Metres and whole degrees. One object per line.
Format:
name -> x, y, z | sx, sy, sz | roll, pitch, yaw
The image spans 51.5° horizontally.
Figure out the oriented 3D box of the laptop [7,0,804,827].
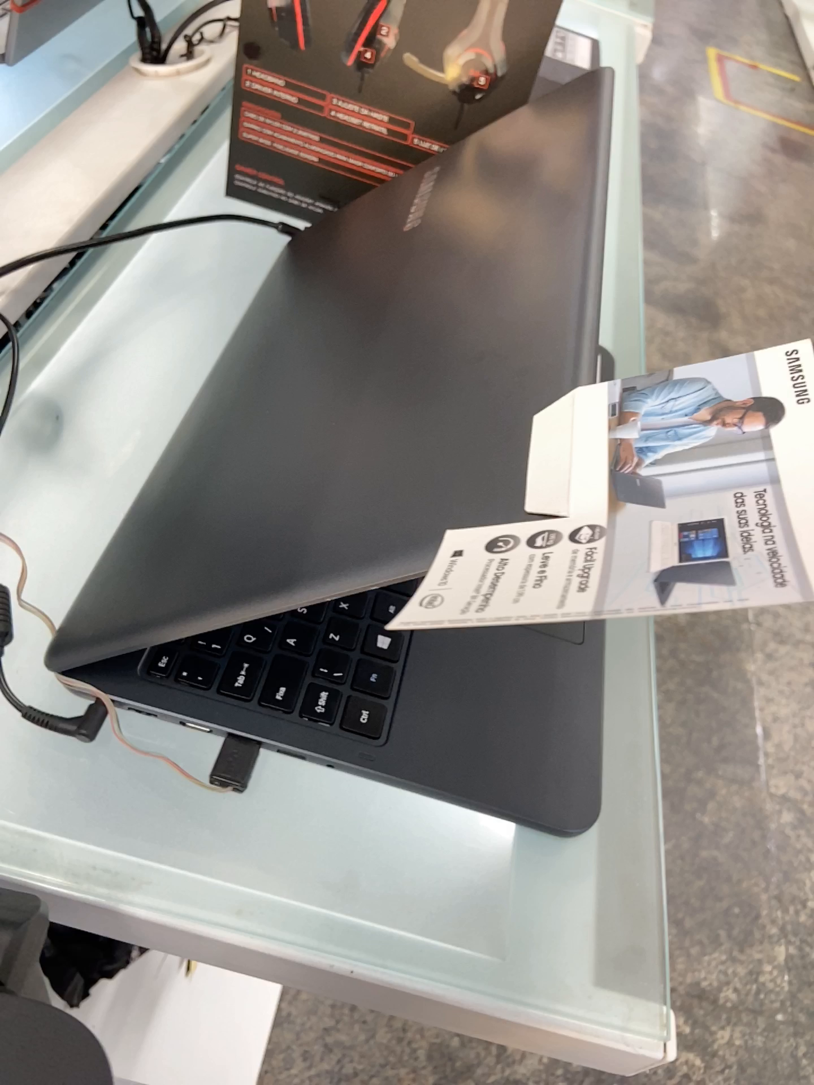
laptop -> 0.019, -0.097, 0.428 | 0.237, 0.170, 0.373 | 17, 47, -3
